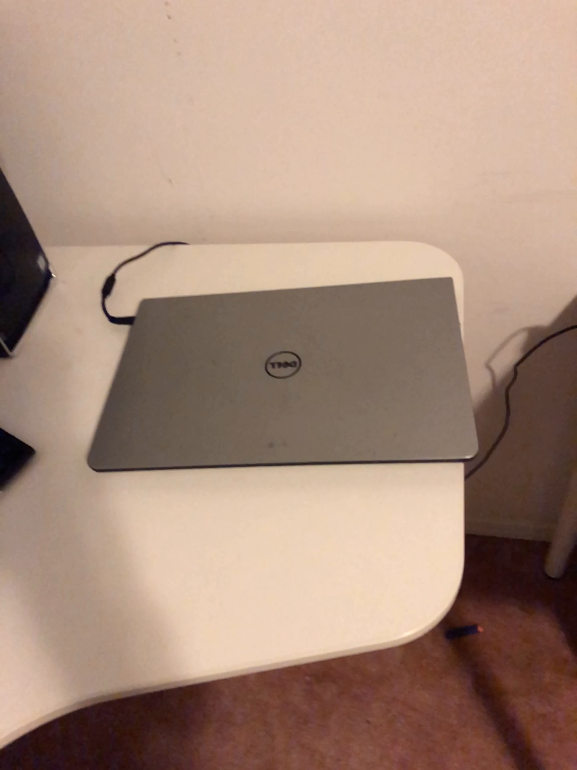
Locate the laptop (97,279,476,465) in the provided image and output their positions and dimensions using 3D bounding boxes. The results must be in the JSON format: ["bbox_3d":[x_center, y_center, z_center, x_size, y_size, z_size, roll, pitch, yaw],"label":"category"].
[{"bbox_3d":[-0.004,-0.021,0.685,0.371,0.001,0.248,-3,48,10],"label":"laptop"}]
